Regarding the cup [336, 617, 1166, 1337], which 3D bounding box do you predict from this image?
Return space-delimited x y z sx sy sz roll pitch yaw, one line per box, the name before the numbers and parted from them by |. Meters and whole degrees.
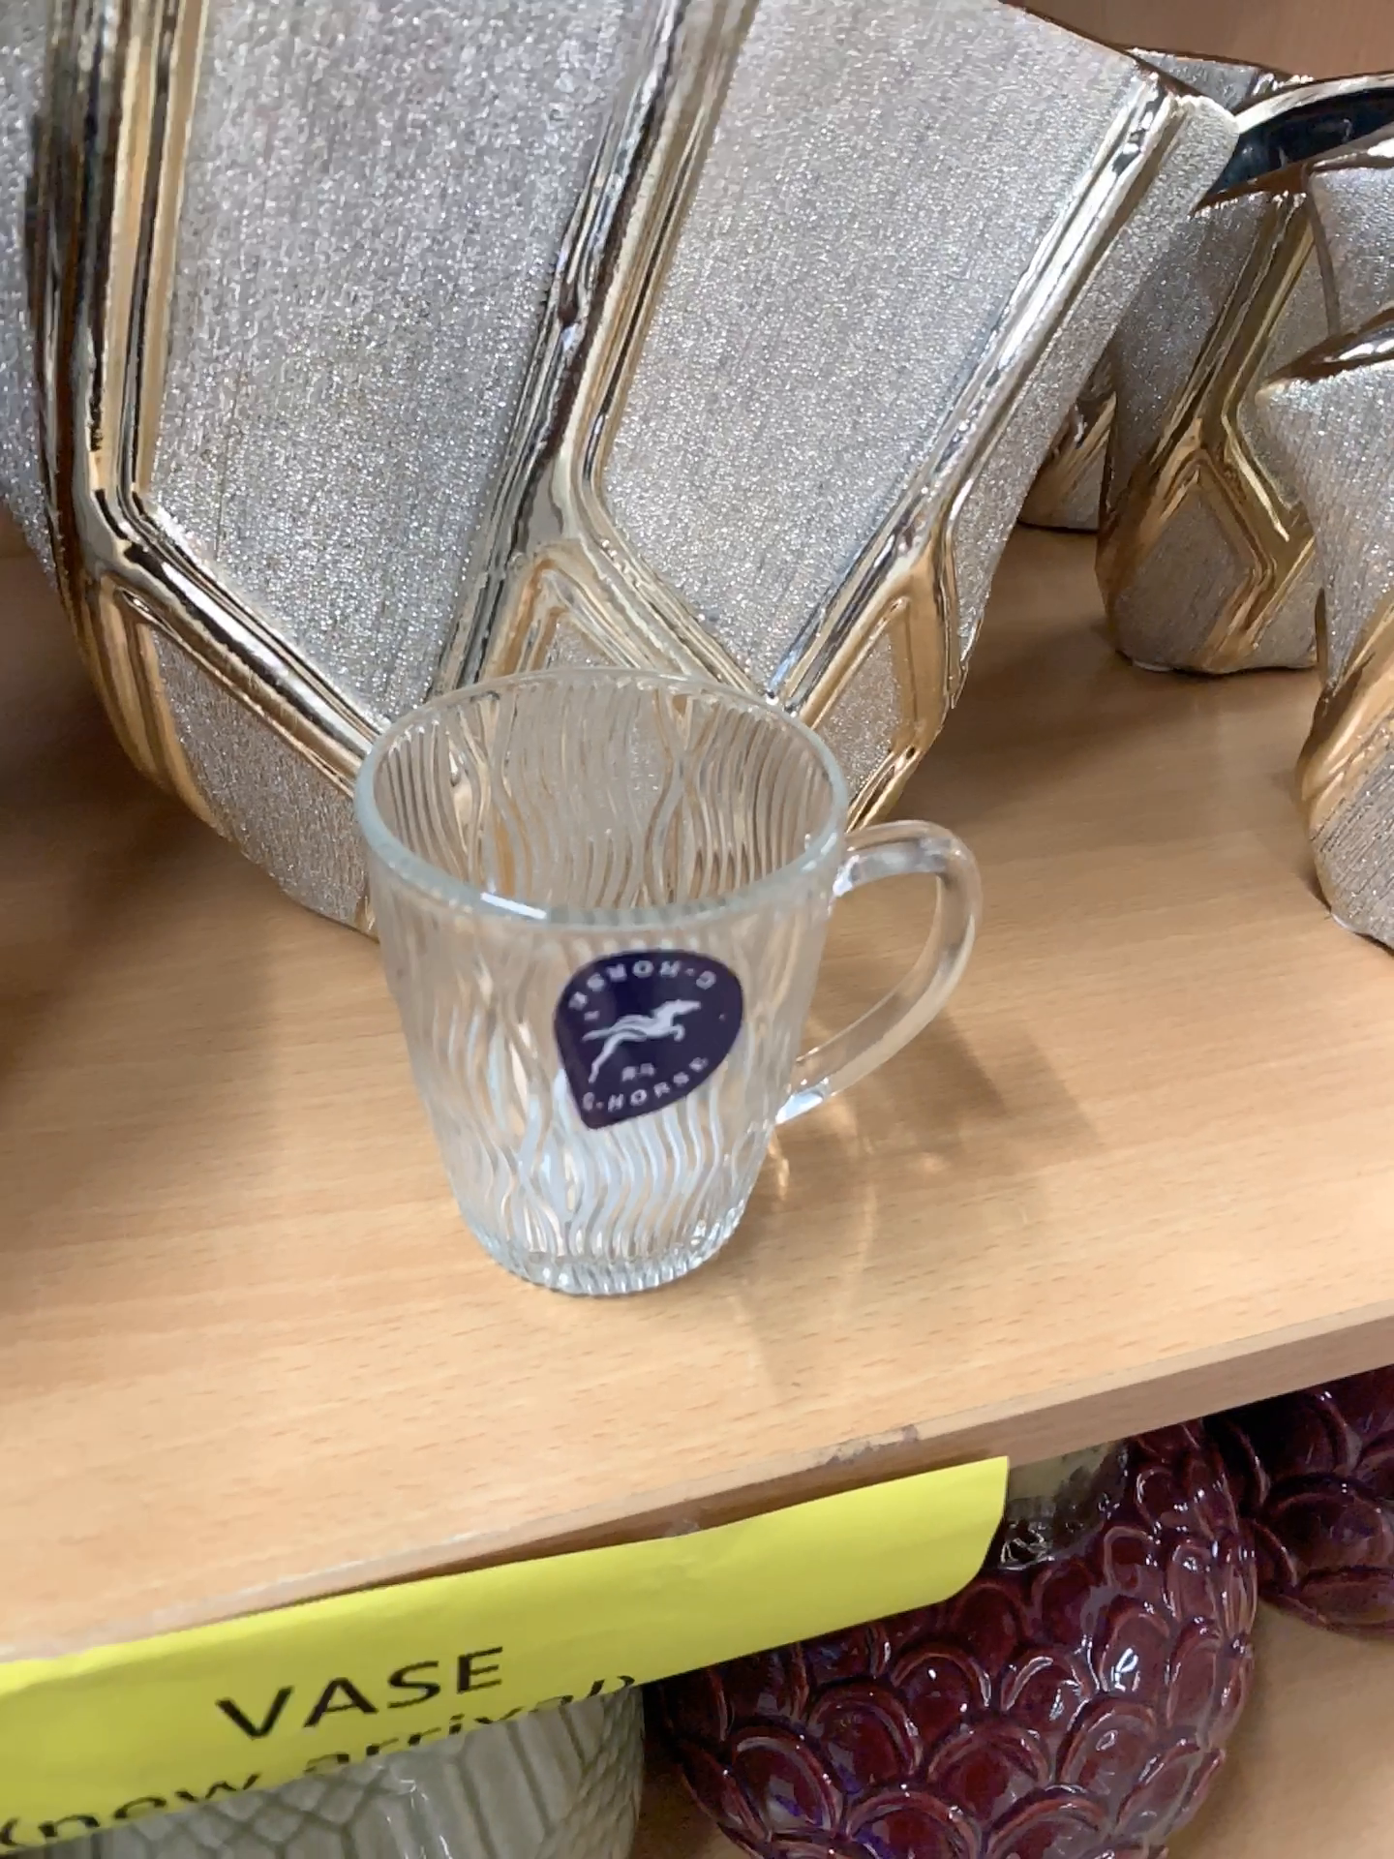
cup | 0.002 0.002 0.222 0.100 0.070 0.070 -8 36 -15
